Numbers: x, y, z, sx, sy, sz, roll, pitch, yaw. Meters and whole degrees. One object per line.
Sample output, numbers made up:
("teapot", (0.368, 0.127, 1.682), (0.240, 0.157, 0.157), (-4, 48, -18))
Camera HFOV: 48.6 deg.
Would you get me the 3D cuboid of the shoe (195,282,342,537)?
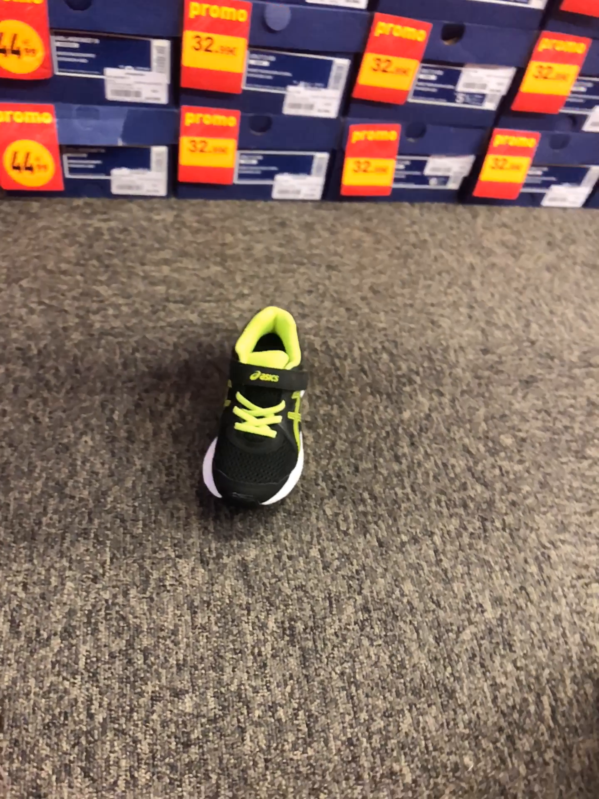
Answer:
("shoe", (-0.022, 0.003, 0.571), (0.090, 0.080, 0.201), (11, 50, -3))
